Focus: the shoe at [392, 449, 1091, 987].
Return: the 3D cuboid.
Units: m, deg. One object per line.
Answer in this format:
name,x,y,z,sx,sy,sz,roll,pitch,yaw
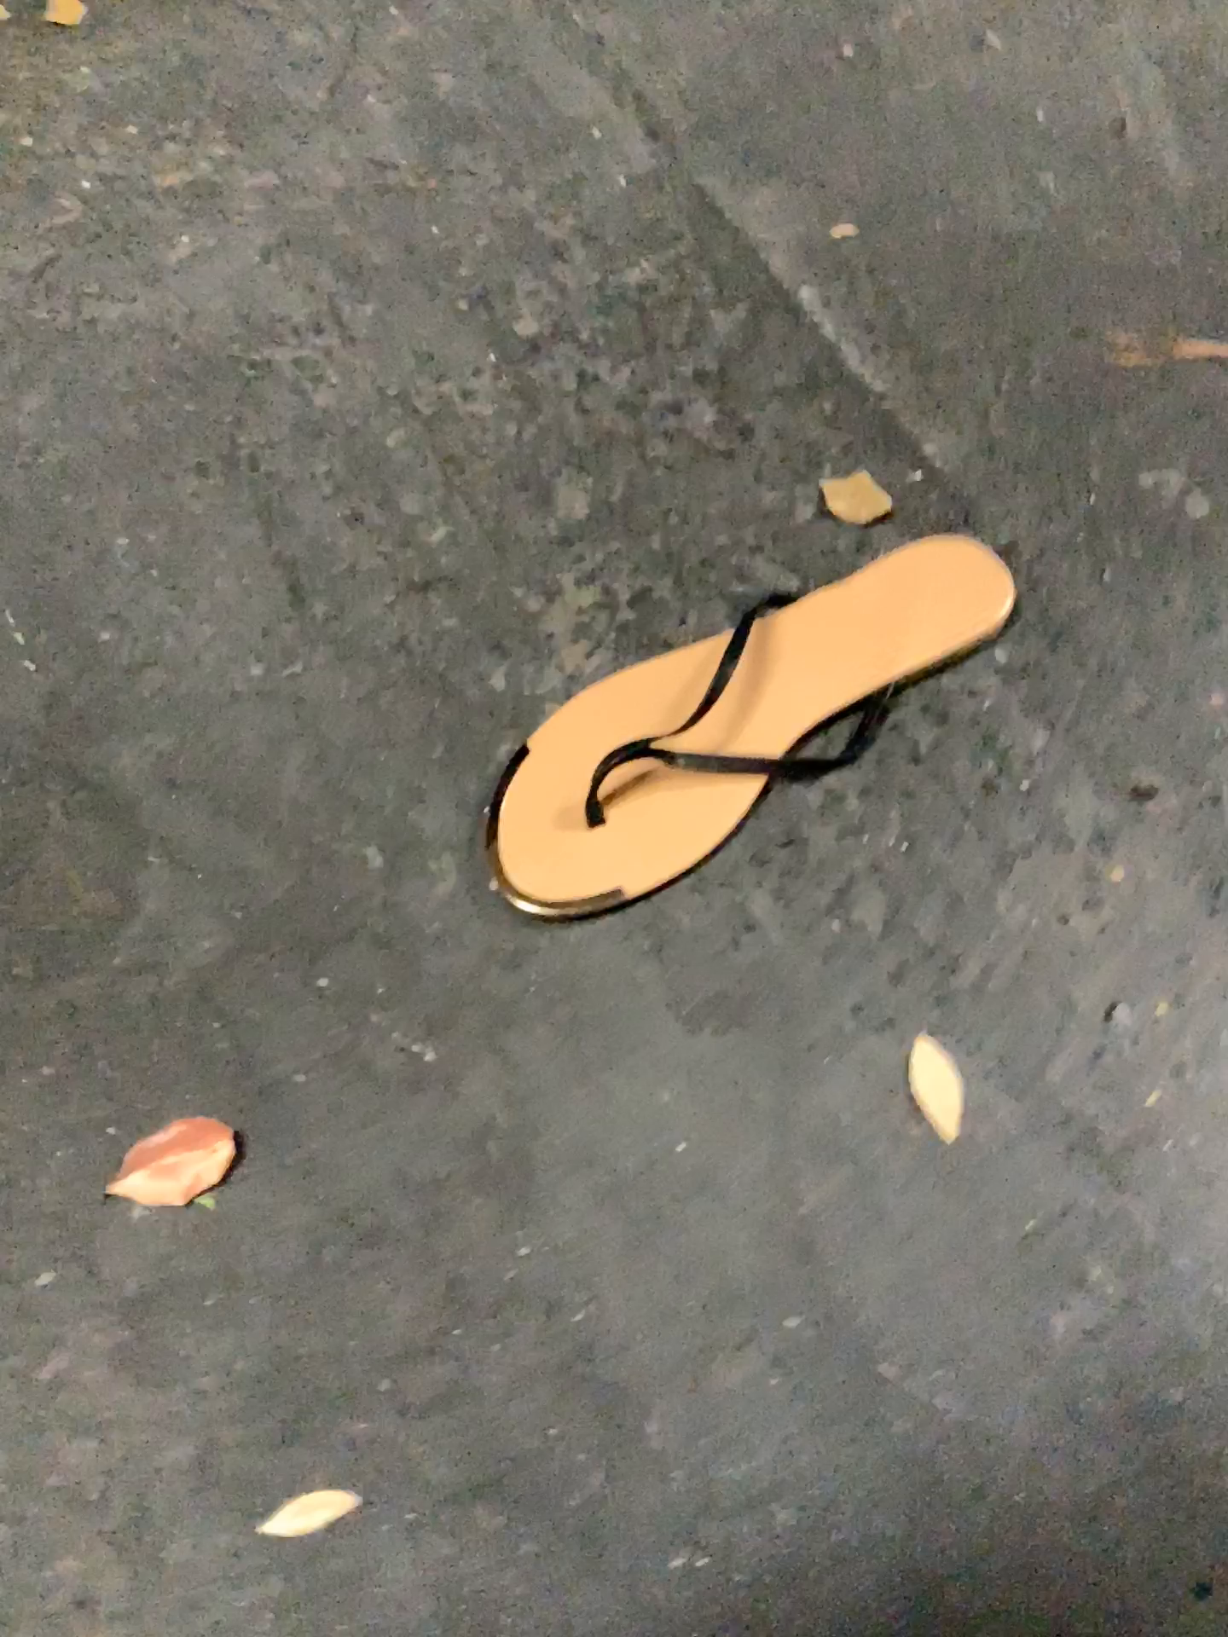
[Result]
shoe,0.058,-0.054,0.591,0.290,0.030,0.110,-33,60,-15
